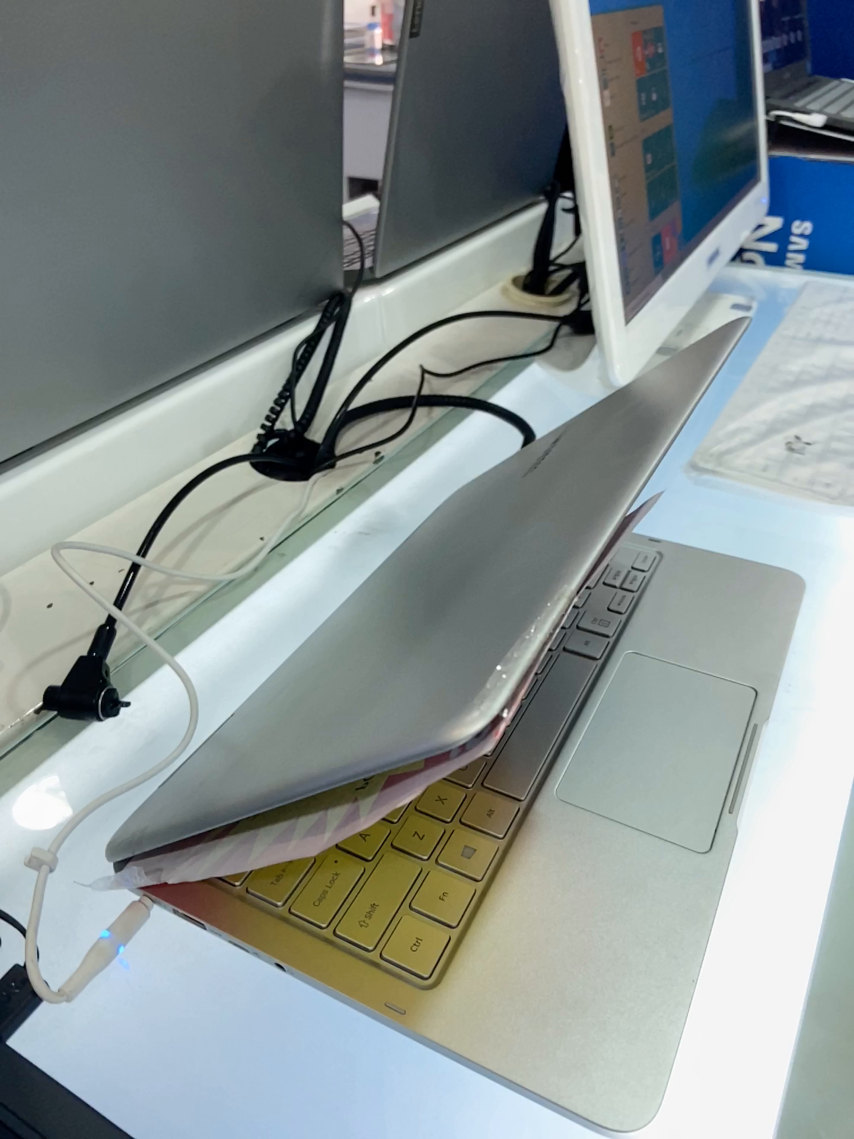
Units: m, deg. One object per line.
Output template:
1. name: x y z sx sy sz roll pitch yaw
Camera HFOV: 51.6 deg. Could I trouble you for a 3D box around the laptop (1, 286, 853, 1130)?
1. laptop: 0.039 0.001 0.364 0.201 0.132 0.308 15 37 24
